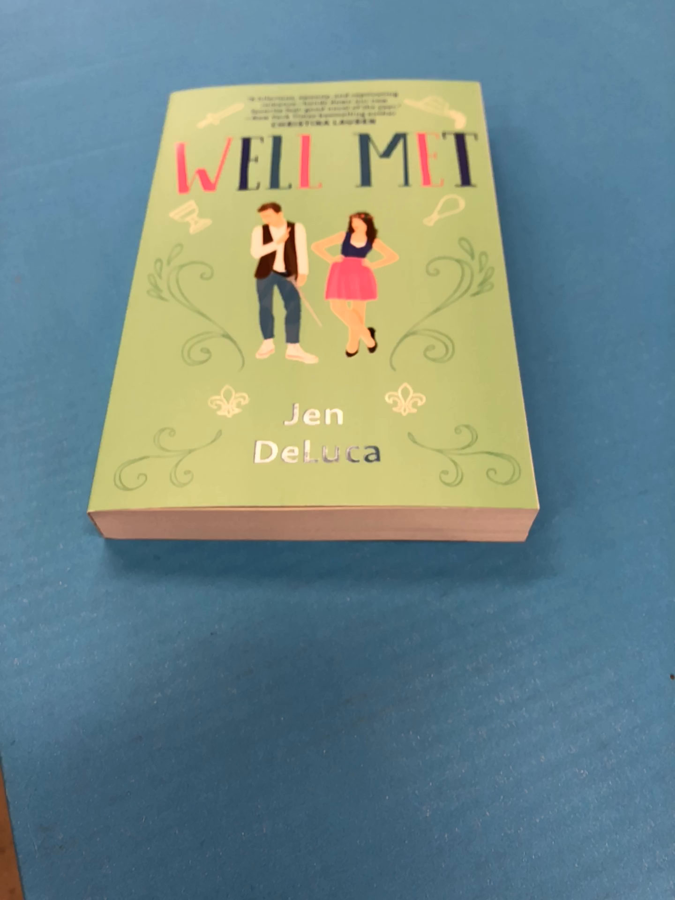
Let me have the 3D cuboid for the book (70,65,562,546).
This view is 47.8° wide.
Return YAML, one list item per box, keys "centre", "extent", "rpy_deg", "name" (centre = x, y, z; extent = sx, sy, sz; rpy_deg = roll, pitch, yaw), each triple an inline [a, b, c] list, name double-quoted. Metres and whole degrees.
- centre: [-0.006, -0.069, 0.294]
  extent: [0.146, 0.030, 0.216]
  rpy_deg: [0, 59, 1]
  name: "book"
